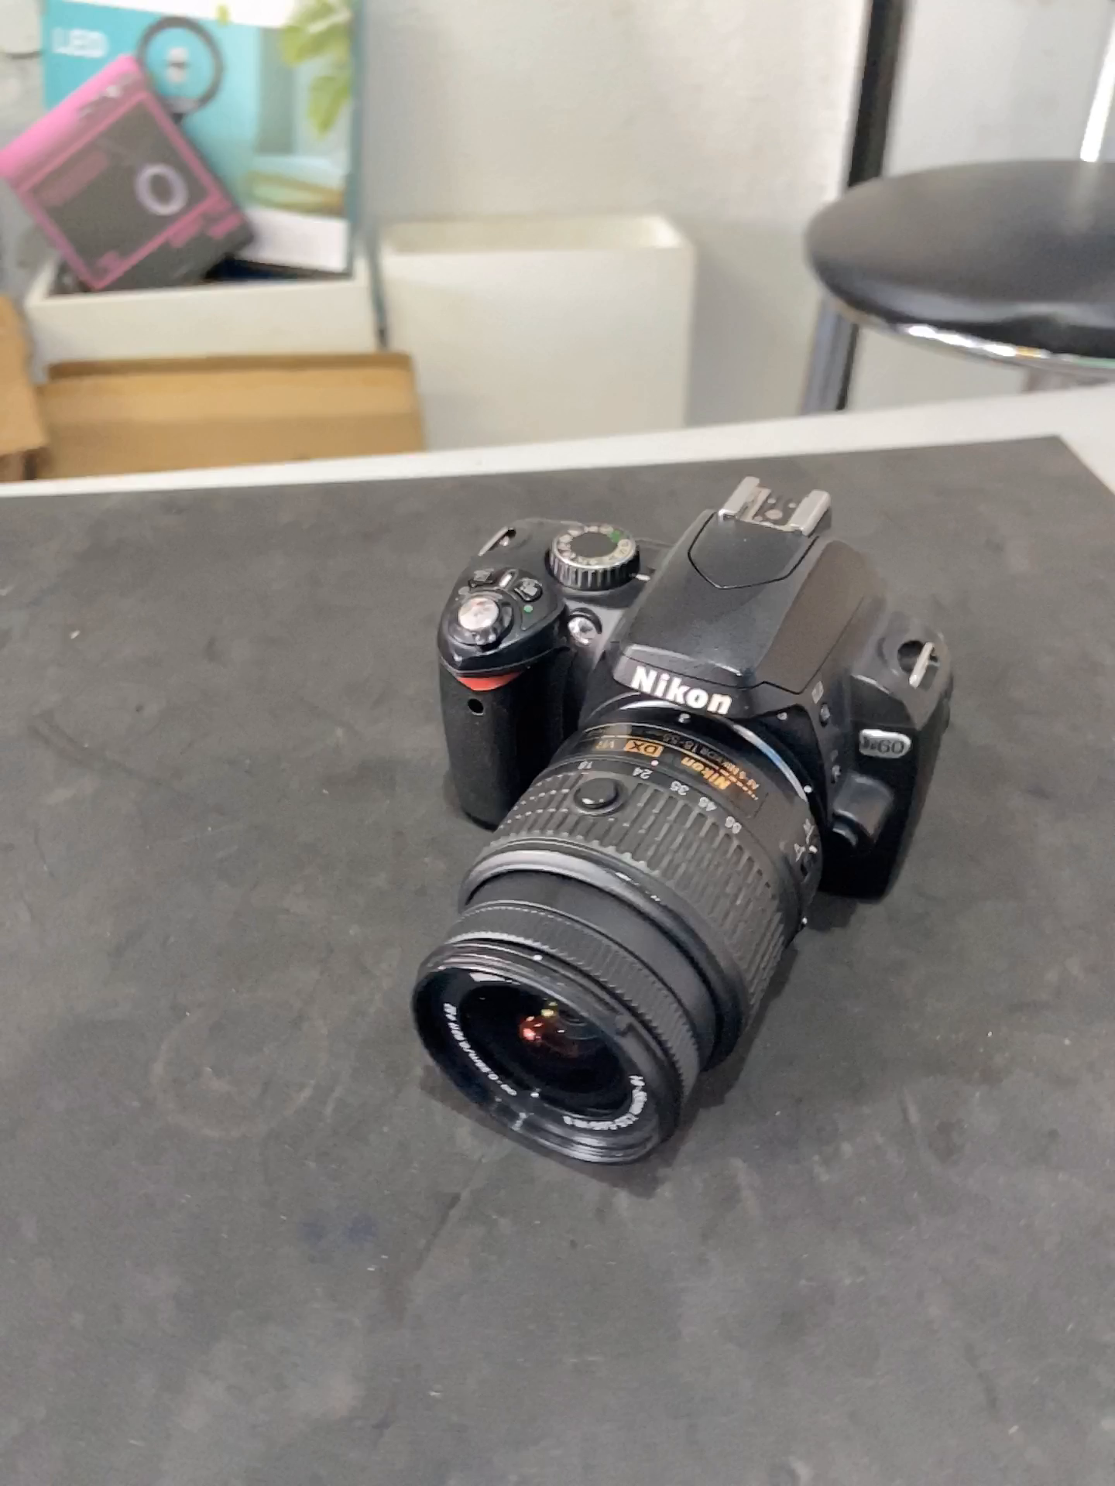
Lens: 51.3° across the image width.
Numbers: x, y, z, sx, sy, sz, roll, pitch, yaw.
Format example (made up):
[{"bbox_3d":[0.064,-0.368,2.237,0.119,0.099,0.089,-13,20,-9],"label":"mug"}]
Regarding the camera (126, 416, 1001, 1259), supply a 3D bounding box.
[{"bbox_3d":[0.012,0.006,0.263,0.129,0.088,0.141,15,45,21],"label":"camera"}]
